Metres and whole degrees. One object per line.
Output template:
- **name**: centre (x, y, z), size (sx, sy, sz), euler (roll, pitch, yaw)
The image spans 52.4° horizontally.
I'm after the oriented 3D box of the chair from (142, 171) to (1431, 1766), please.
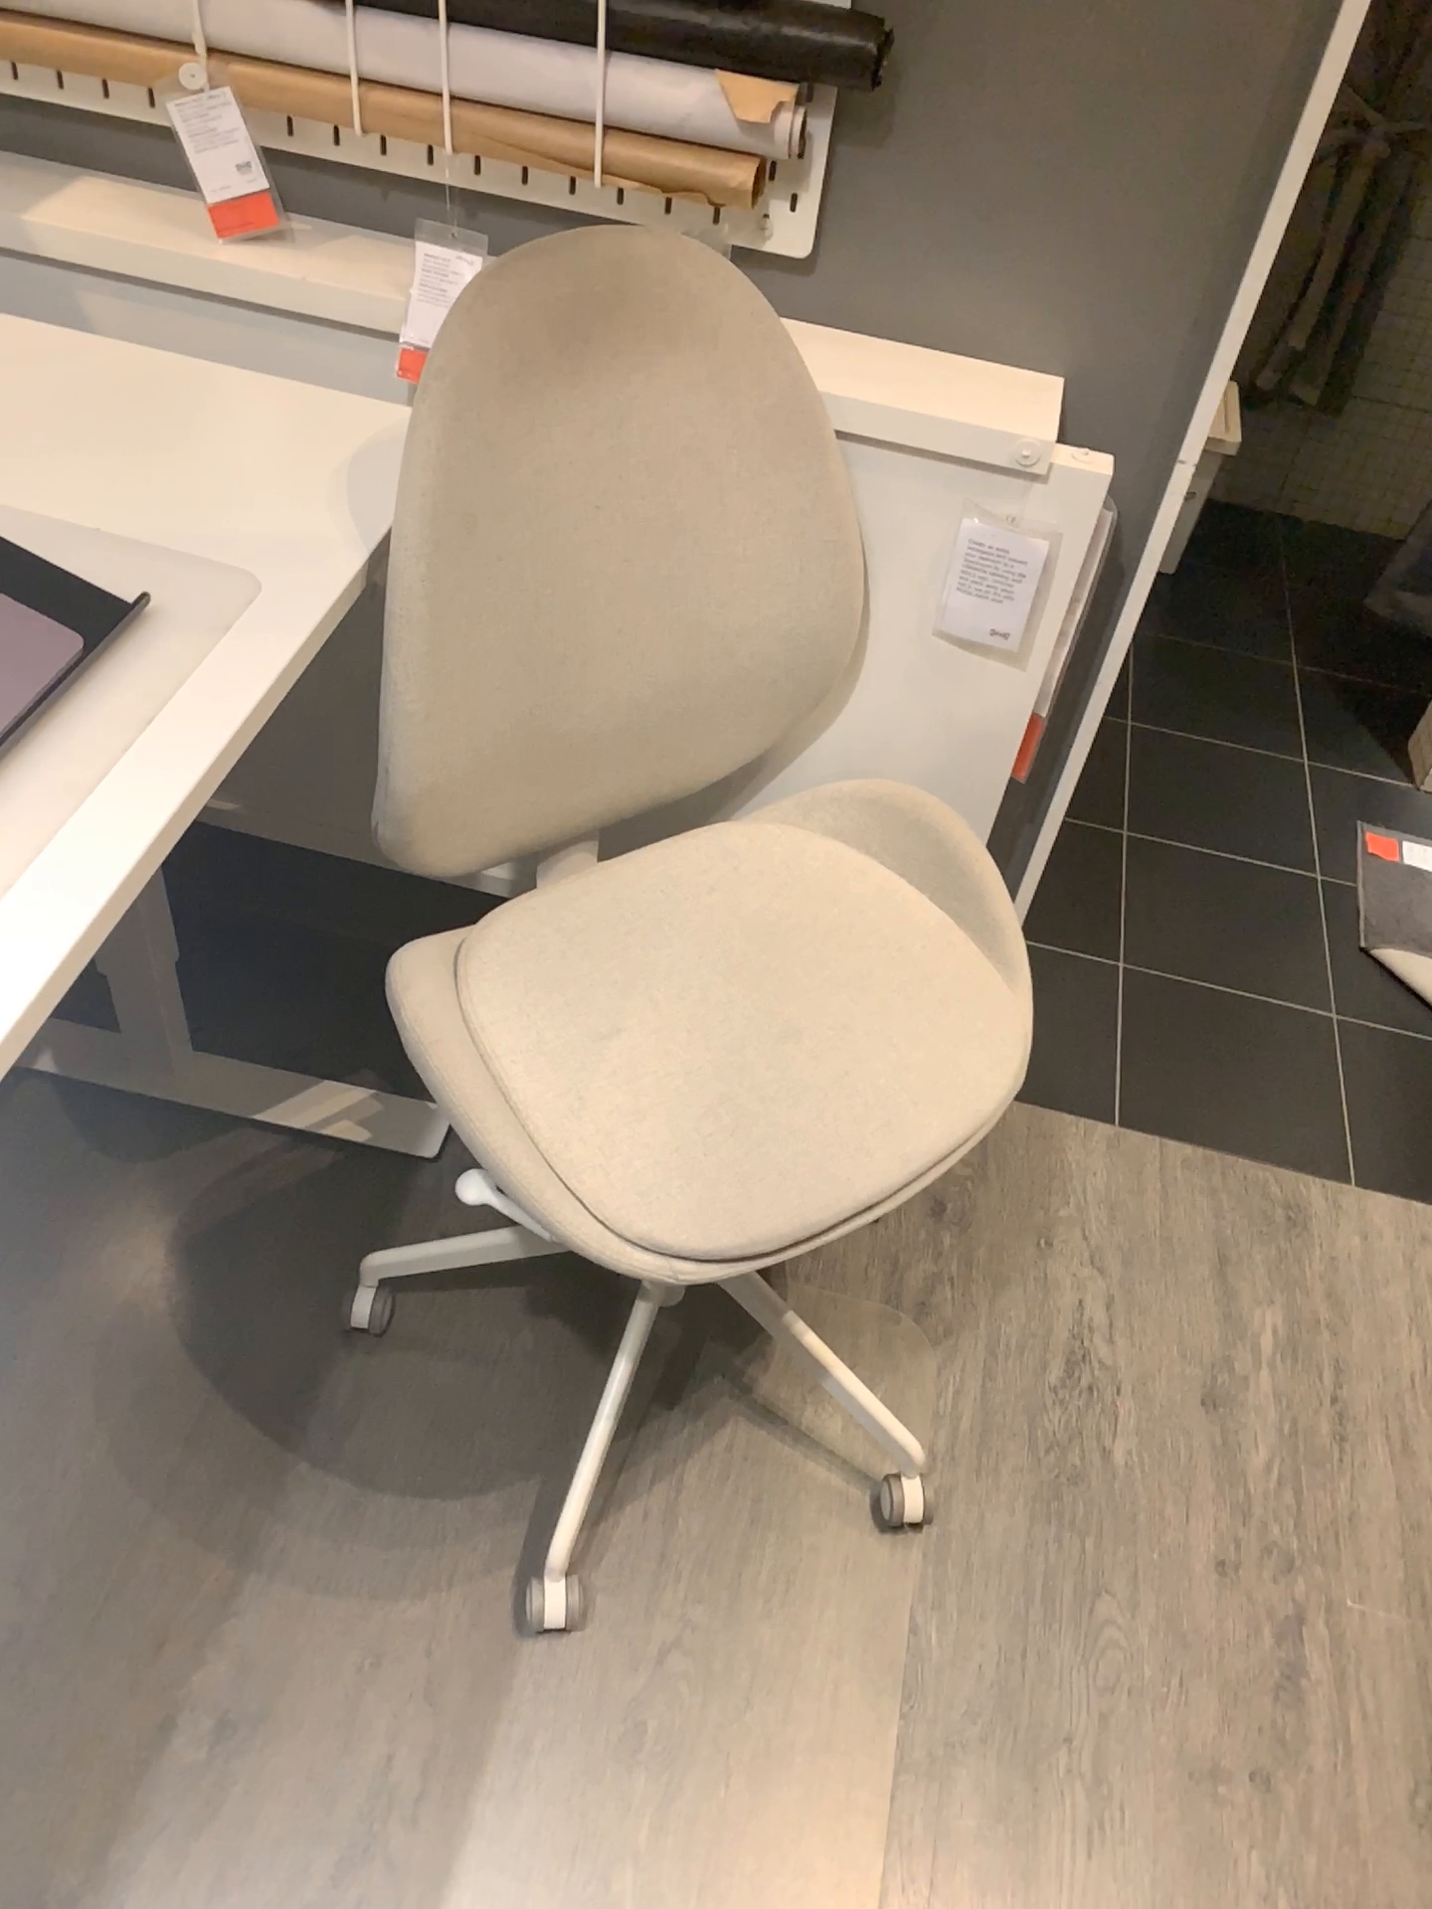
- **chair**: centre (0.029, 0.030, 1.103), size (0.611, 0.937, 0.592), euler (-17, 51, -24)
